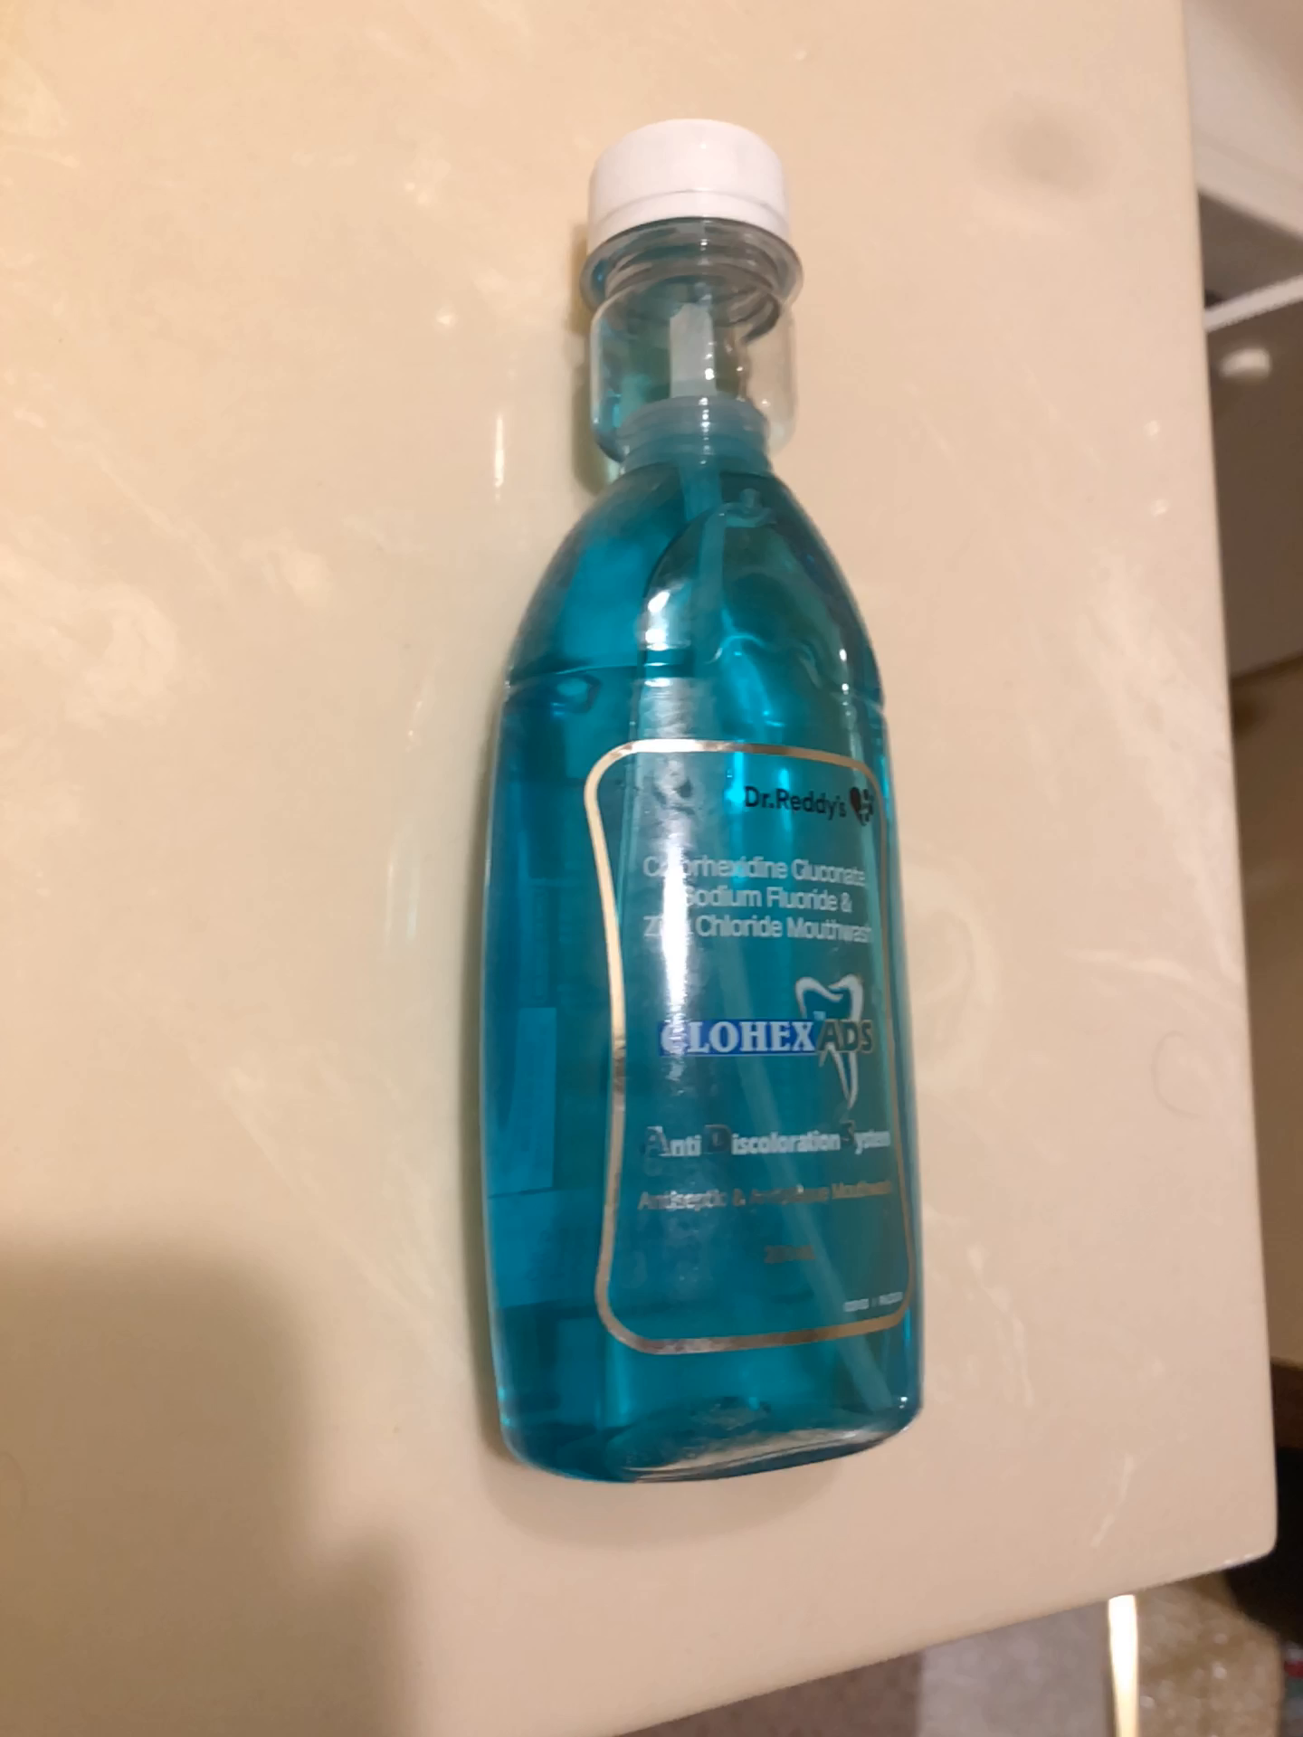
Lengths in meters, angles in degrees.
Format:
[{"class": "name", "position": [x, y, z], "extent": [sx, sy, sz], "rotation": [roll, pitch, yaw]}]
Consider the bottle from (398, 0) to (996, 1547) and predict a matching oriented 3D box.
[{"class": "bottle", "position": [0.005, -0.024, 0.211], "extent": [0.070, 0.040, 0.210], "rotation": [3, 81, -29]}]
